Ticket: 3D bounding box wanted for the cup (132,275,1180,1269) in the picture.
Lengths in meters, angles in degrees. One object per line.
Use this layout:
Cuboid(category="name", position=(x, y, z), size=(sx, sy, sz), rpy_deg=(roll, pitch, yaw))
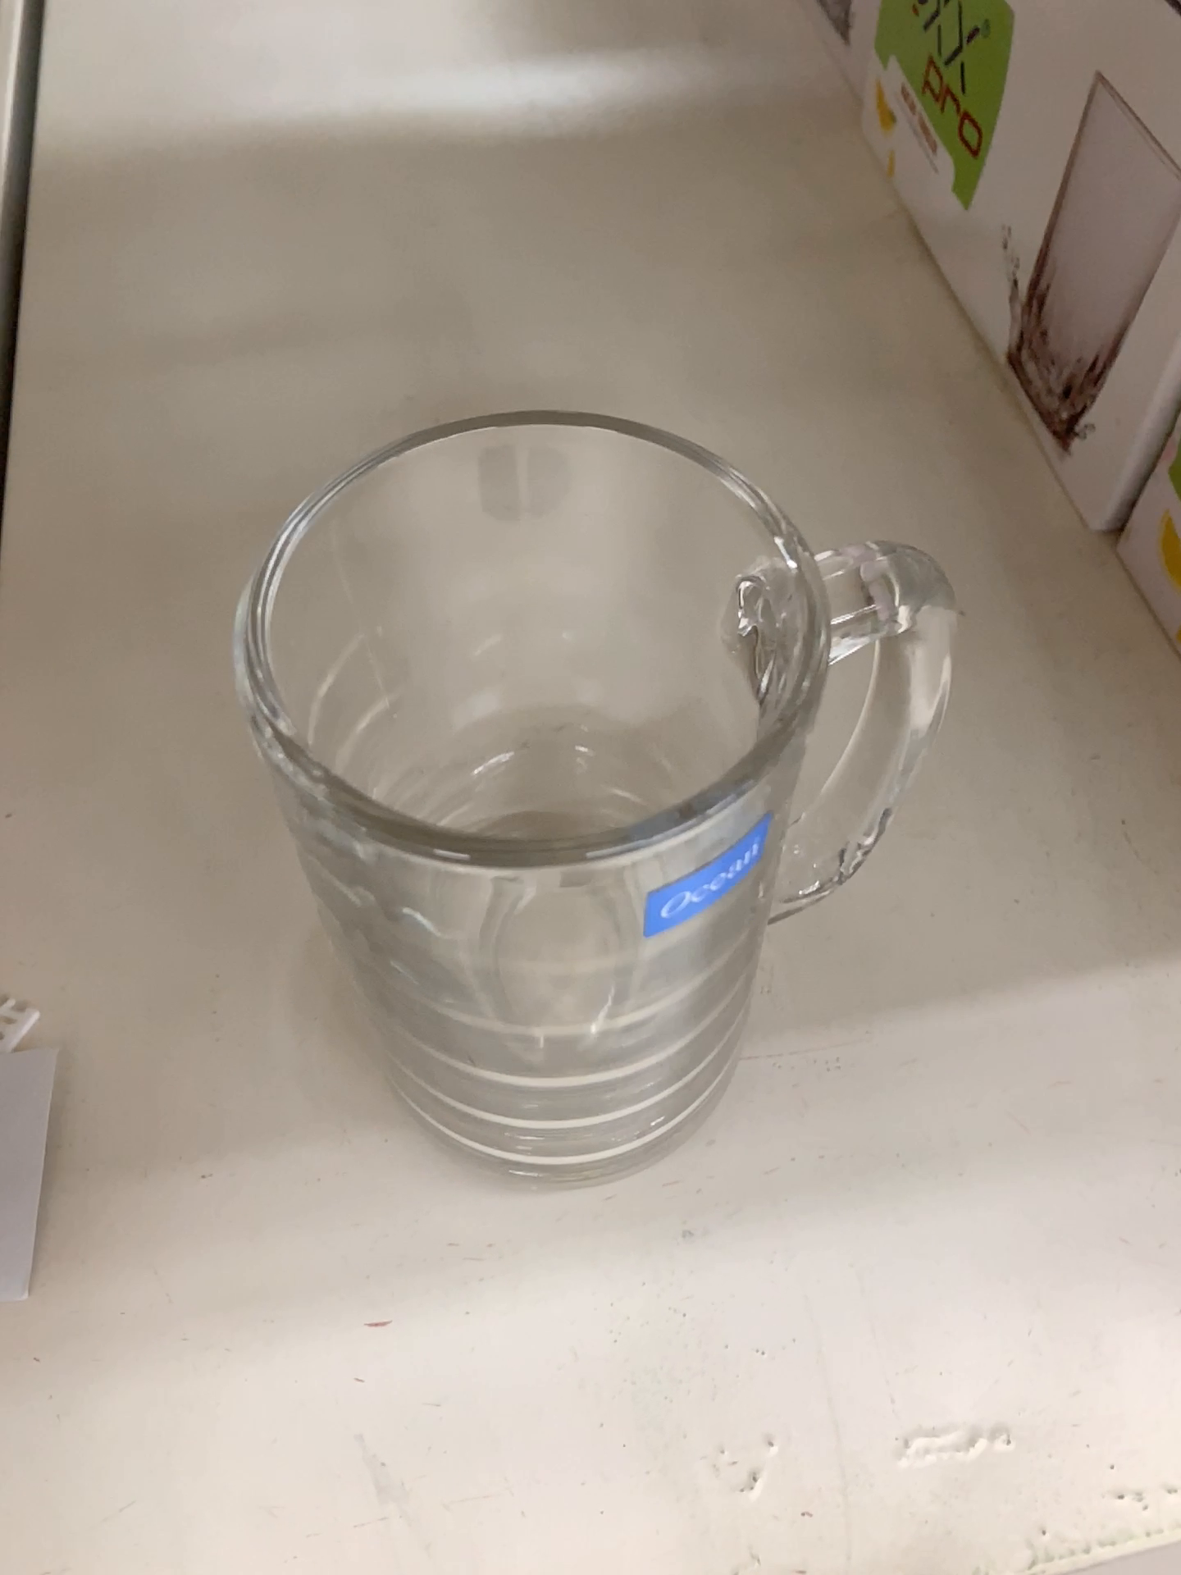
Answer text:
Cuboid(category="cup", position=(0.010, 0.007, 0.209), size=(0.120, 0.129, 0.080), rpy_deg=(-17, 59, -9))
